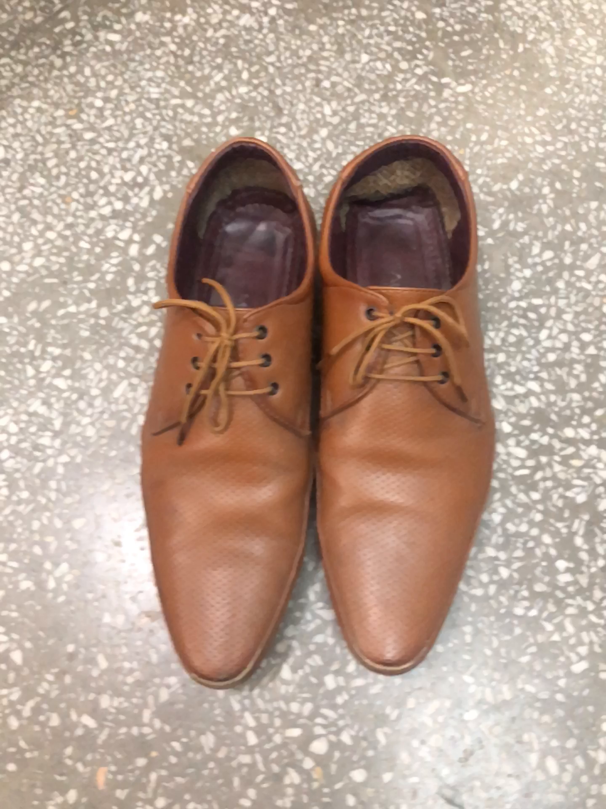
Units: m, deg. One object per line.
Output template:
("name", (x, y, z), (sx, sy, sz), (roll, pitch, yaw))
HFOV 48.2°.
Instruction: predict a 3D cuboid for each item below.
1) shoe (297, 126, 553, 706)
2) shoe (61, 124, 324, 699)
("shoe", (0.056, 0.004, 0.378), (0.105, 0.118, 0.284), (1, 73, 2))
("shoe", (-0.044, 0.002, 0.380), (0.105, 0.118, 0.284), (1, 73, 2))
